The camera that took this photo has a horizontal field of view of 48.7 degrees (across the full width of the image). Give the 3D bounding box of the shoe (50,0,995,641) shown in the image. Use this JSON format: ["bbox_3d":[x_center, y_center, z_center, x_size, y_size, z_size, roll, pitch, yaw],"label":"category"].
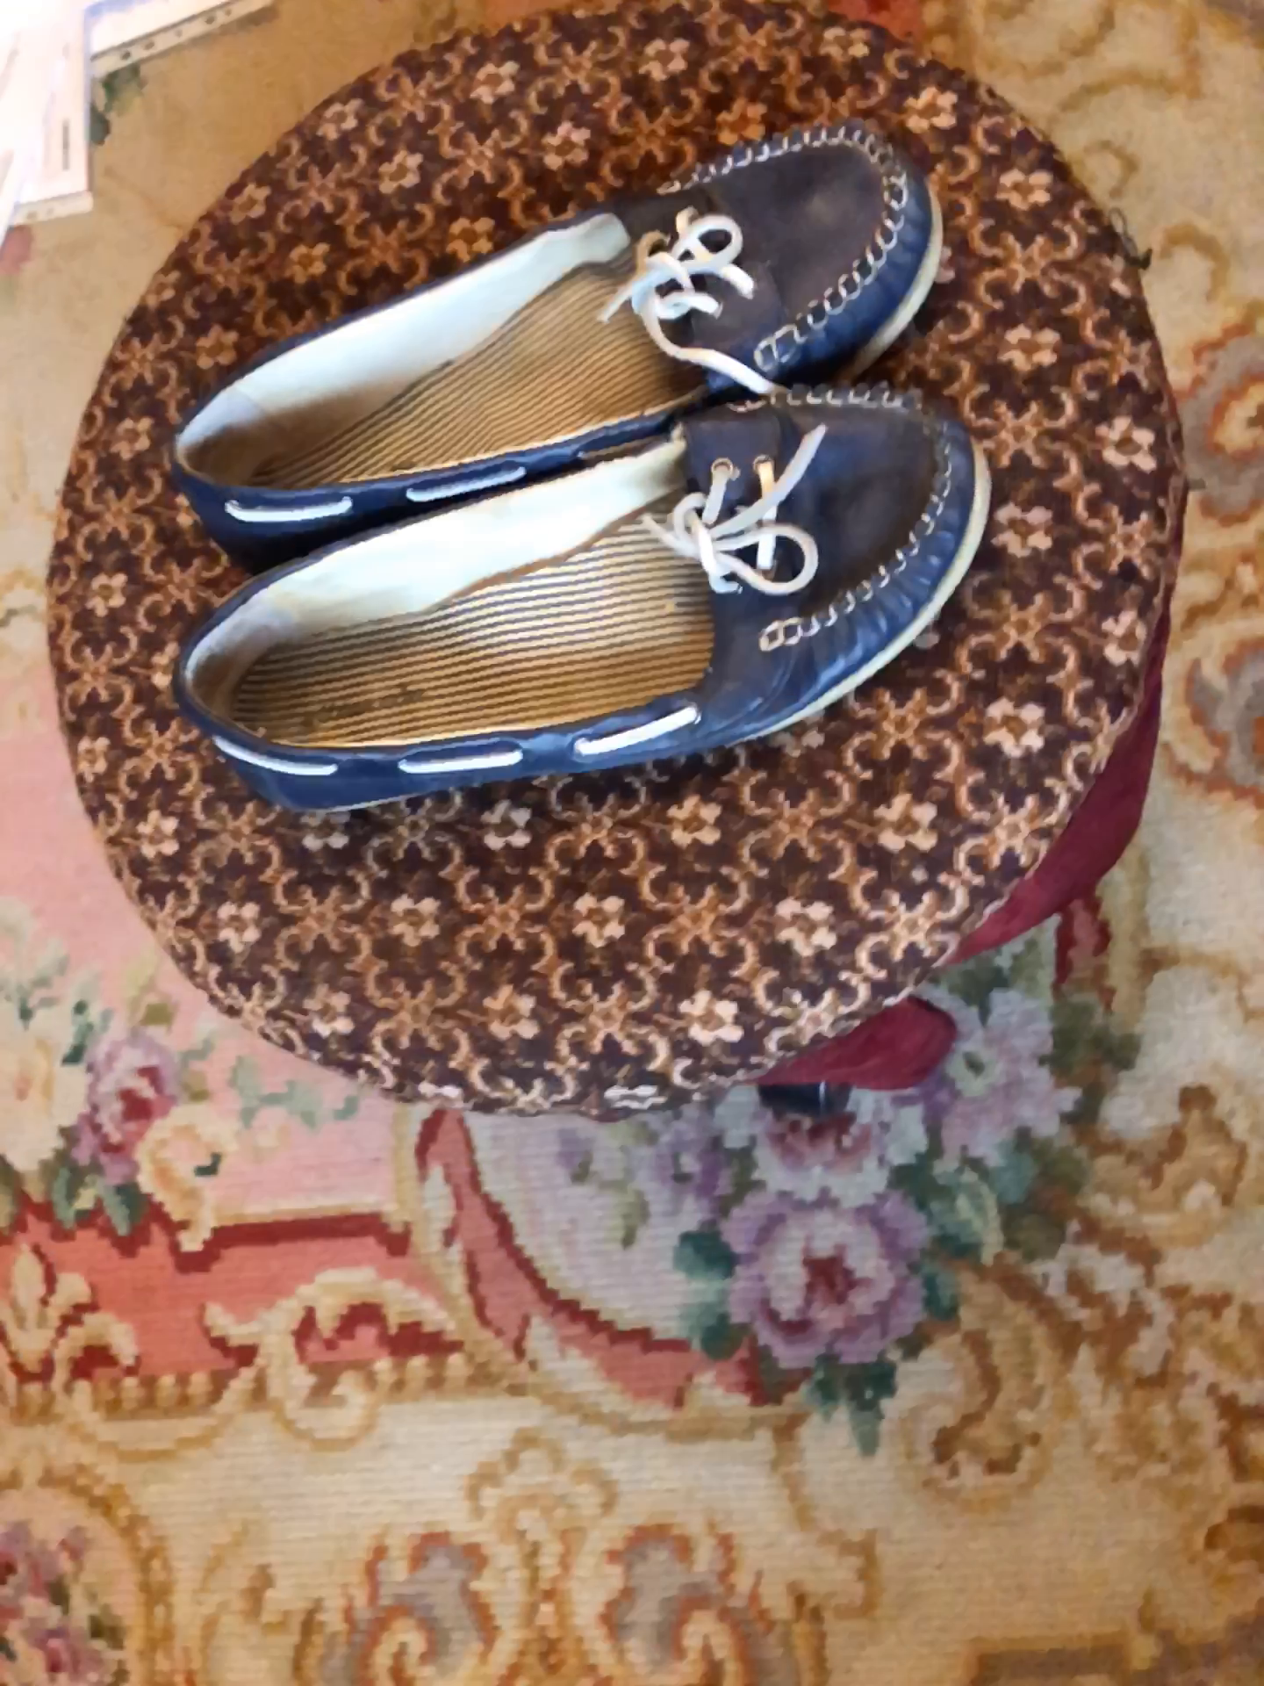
[{"bbox_3d":[-0.030,-0.159,0.416,0.250,0.090,0.090,-19,73,9],"label":"shoe"}]

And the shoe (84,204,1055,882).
[{"bbox_3d":[-0.016,-0.070,0.407,0.250,0.100,0.090,-17,80,15],"label":"shoe"}]
